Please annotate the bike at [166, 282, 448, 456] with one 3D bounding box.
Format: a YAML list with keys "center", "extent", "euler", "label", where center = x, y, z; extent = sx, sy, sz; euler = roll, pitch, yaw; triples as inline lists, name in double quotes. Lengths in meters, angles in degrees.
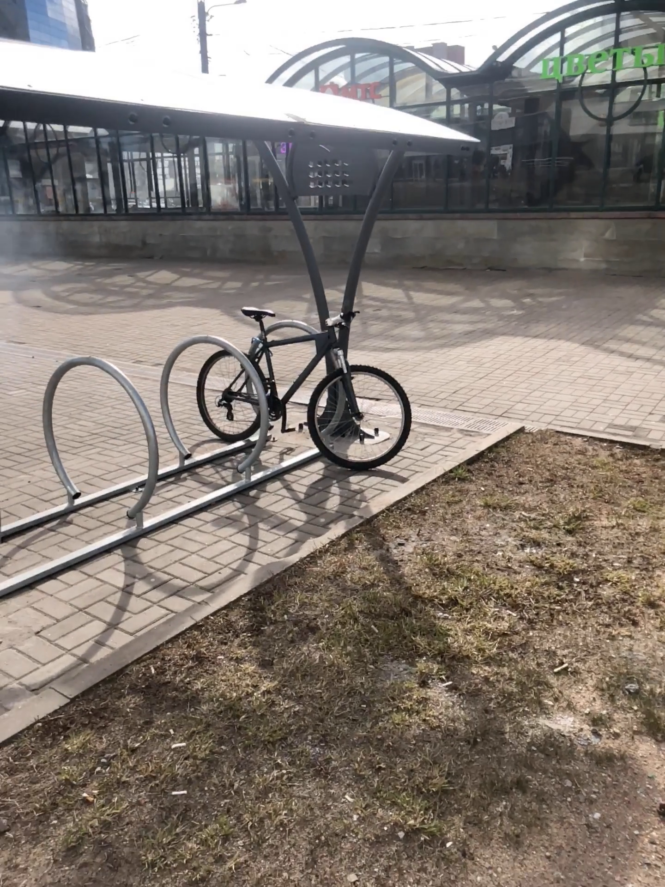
- center: [-0.174, -0.525, 4.810]
  extent: [1.611, 0.981, 0.563]
  euler: [6, 19, 25]
  label: "bike"
